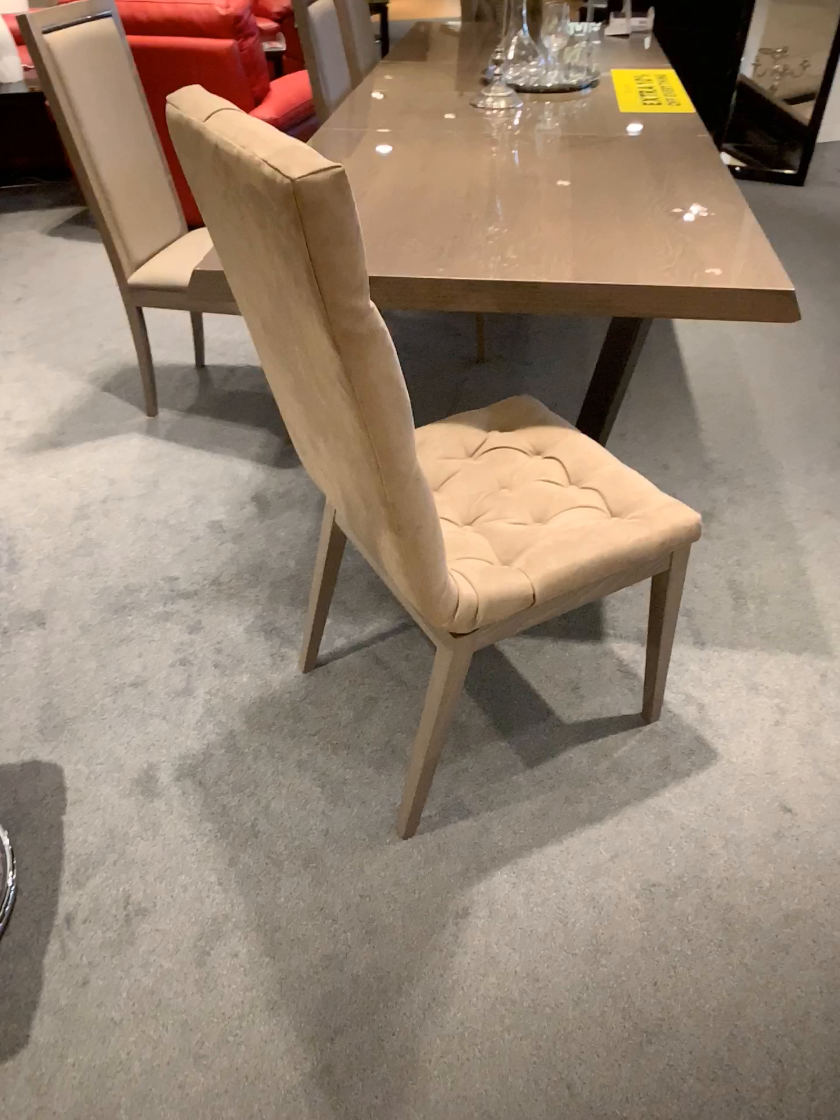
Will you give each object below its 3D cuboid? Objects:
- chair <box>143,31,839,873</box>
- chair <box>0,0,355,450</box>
[{"bbox_3d":[0.071,-0.162,1.312,0.637,1.021,0.527,-20,42,-23],"label":"chair"},{"bbox_3d":[-0.606,-0.930,2.362,0.637,1.021,0.528,12,40,16],"label":"chair"}]
